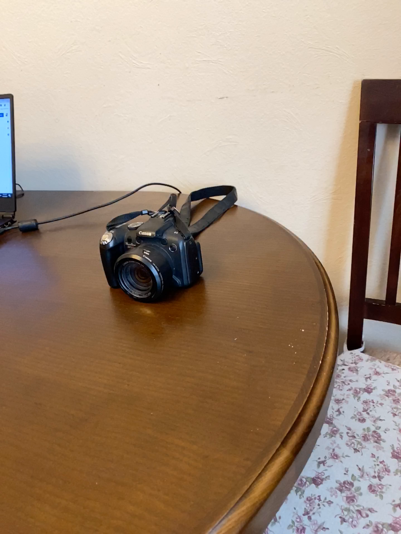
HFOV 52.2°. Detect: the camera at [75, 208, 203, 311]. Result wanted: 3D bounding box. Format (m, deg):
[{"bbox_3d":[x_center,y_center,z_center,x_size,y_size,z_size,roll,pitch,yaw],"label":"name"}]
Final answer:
[{"bbox_3d":[-0.073,-0.014,0.513,0.123,0.088,0.082,8,30,26],"label":"camera"}]
